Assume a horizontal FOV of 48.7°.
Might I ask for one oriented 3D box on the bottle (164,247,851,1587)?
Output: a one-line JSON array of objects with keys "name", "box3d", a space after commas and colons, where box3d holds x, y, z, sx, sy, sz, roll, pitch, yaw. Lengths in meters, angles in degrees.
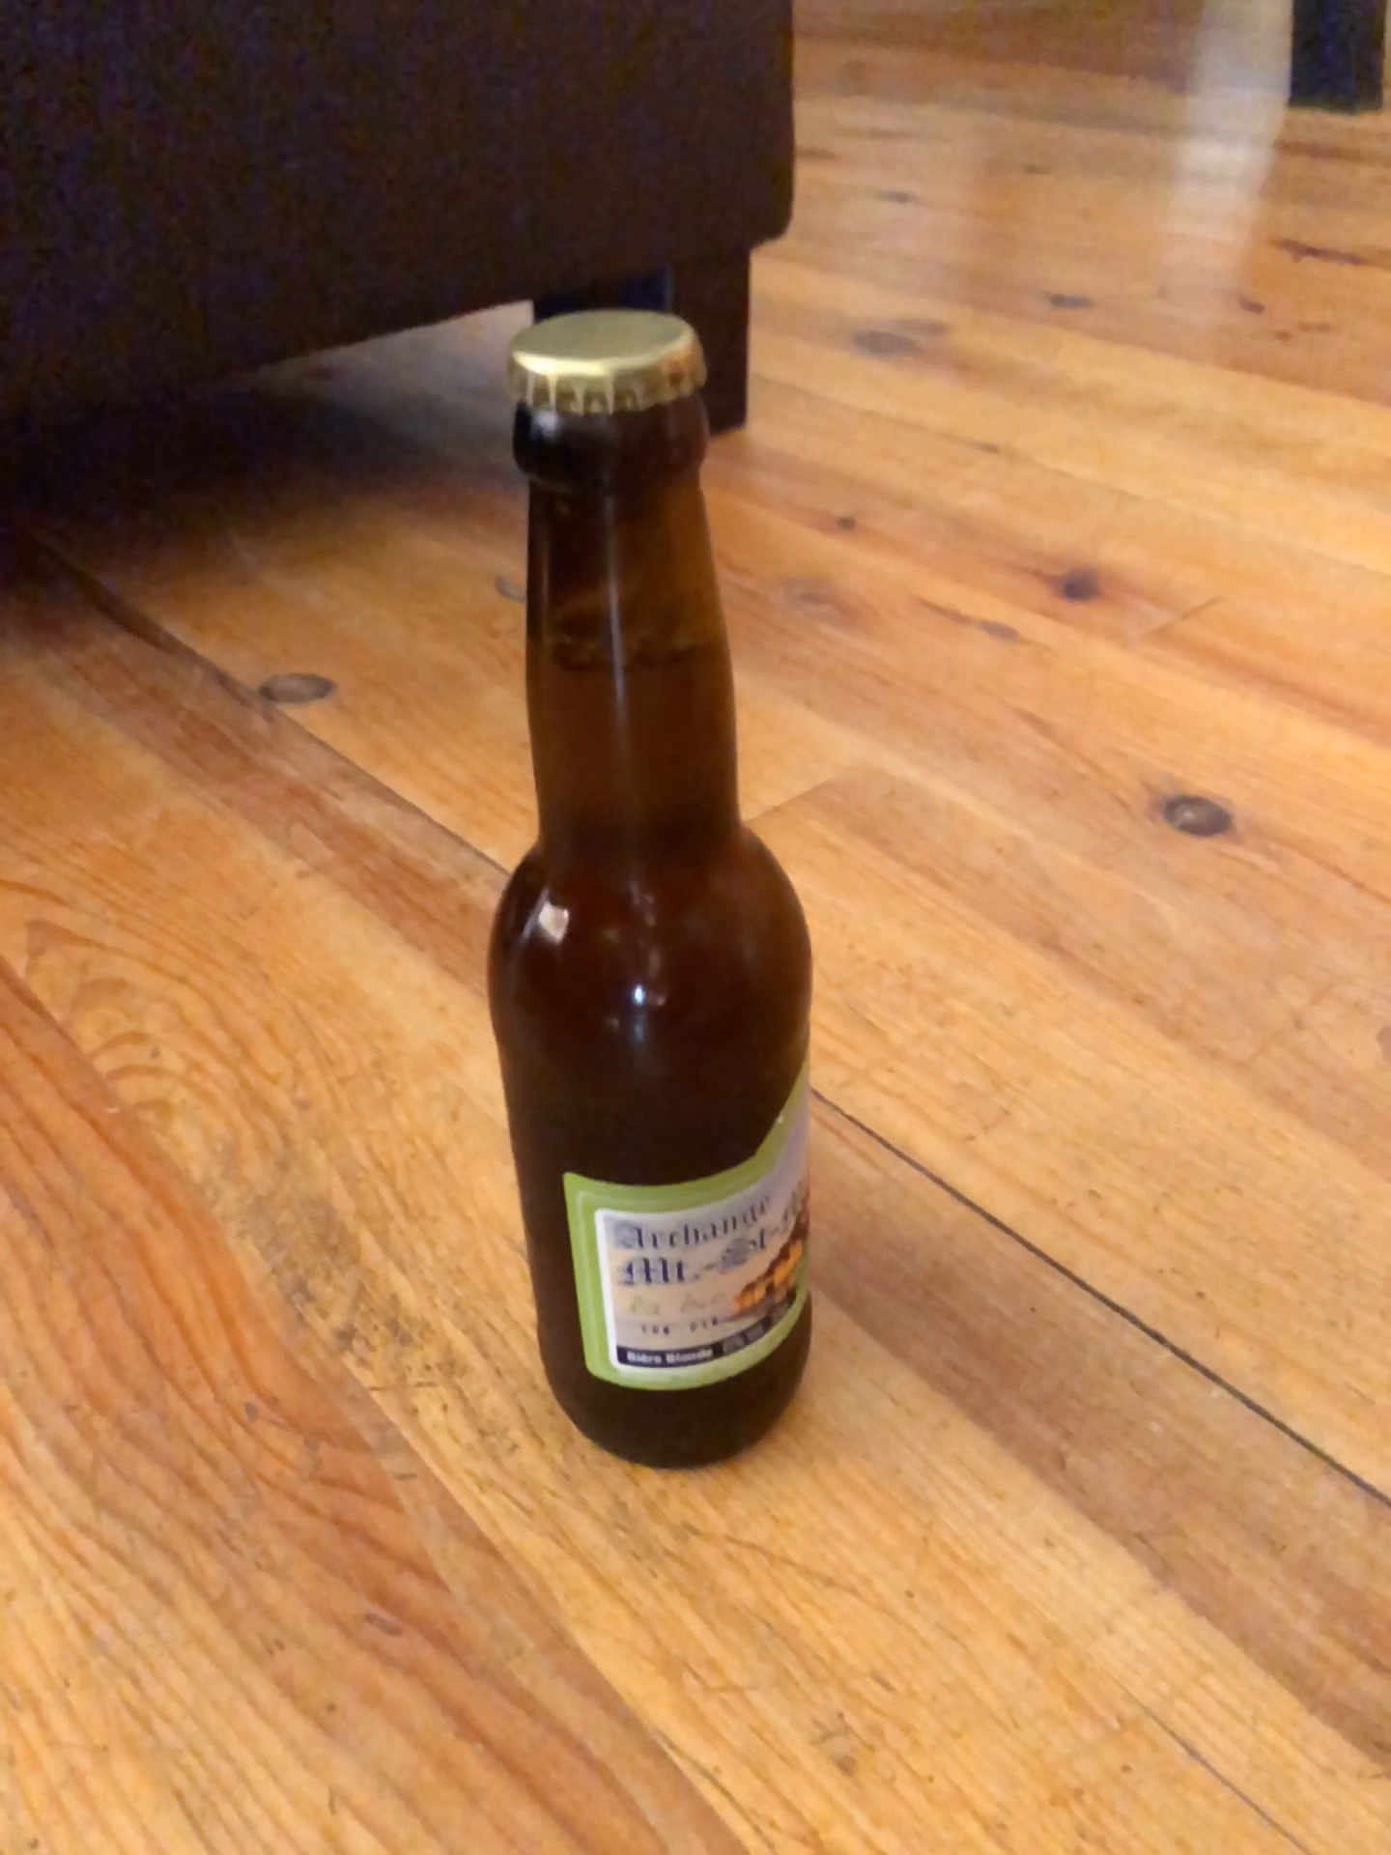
[{"name": "bottle", "box3d": [-0.018, 0.011, 0.271, 0.070, 0.229, 0.071, -1, 36, 1]}]
